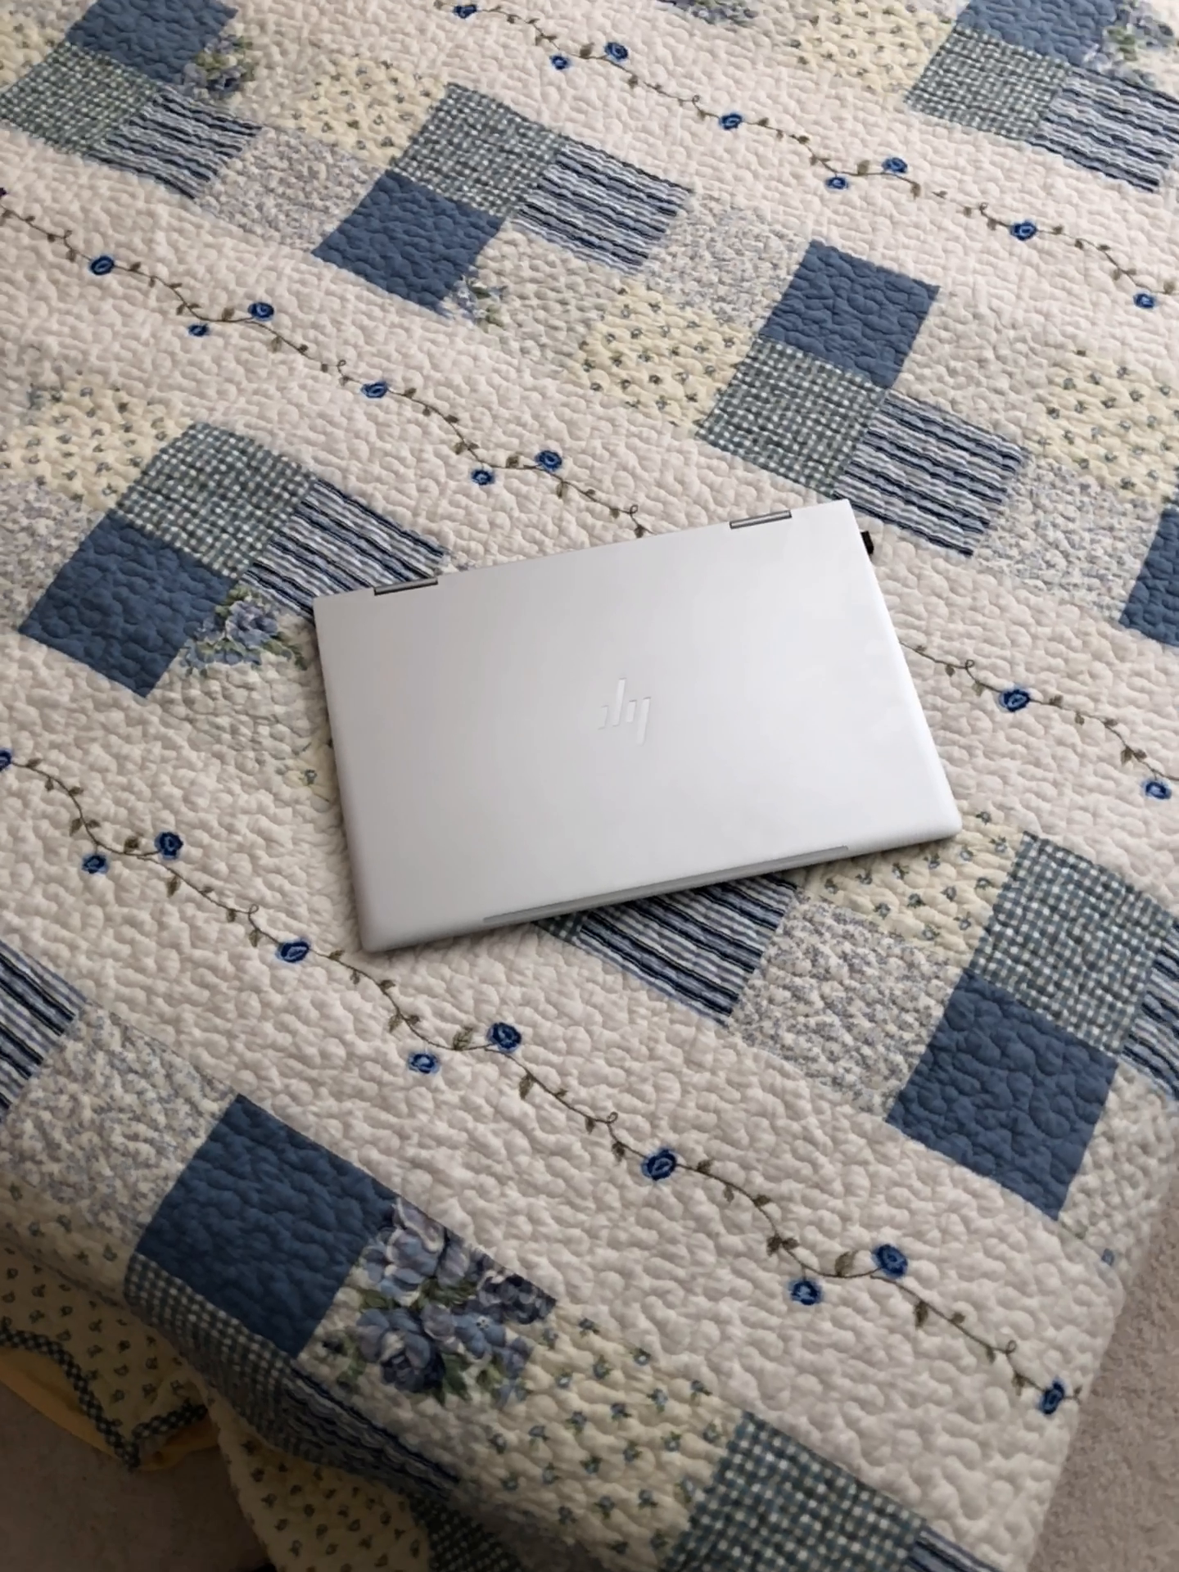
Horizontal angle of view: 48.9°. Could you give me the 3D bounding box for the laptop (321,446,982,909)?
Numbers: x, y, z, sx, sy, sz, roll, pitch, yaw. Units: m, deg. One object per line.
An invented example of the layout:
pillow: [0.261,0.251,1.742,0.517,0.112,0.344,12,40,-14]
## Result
laptop: [0.031,-0.080,0.860,0.385,0.011,0.256,-12,70,-2]
